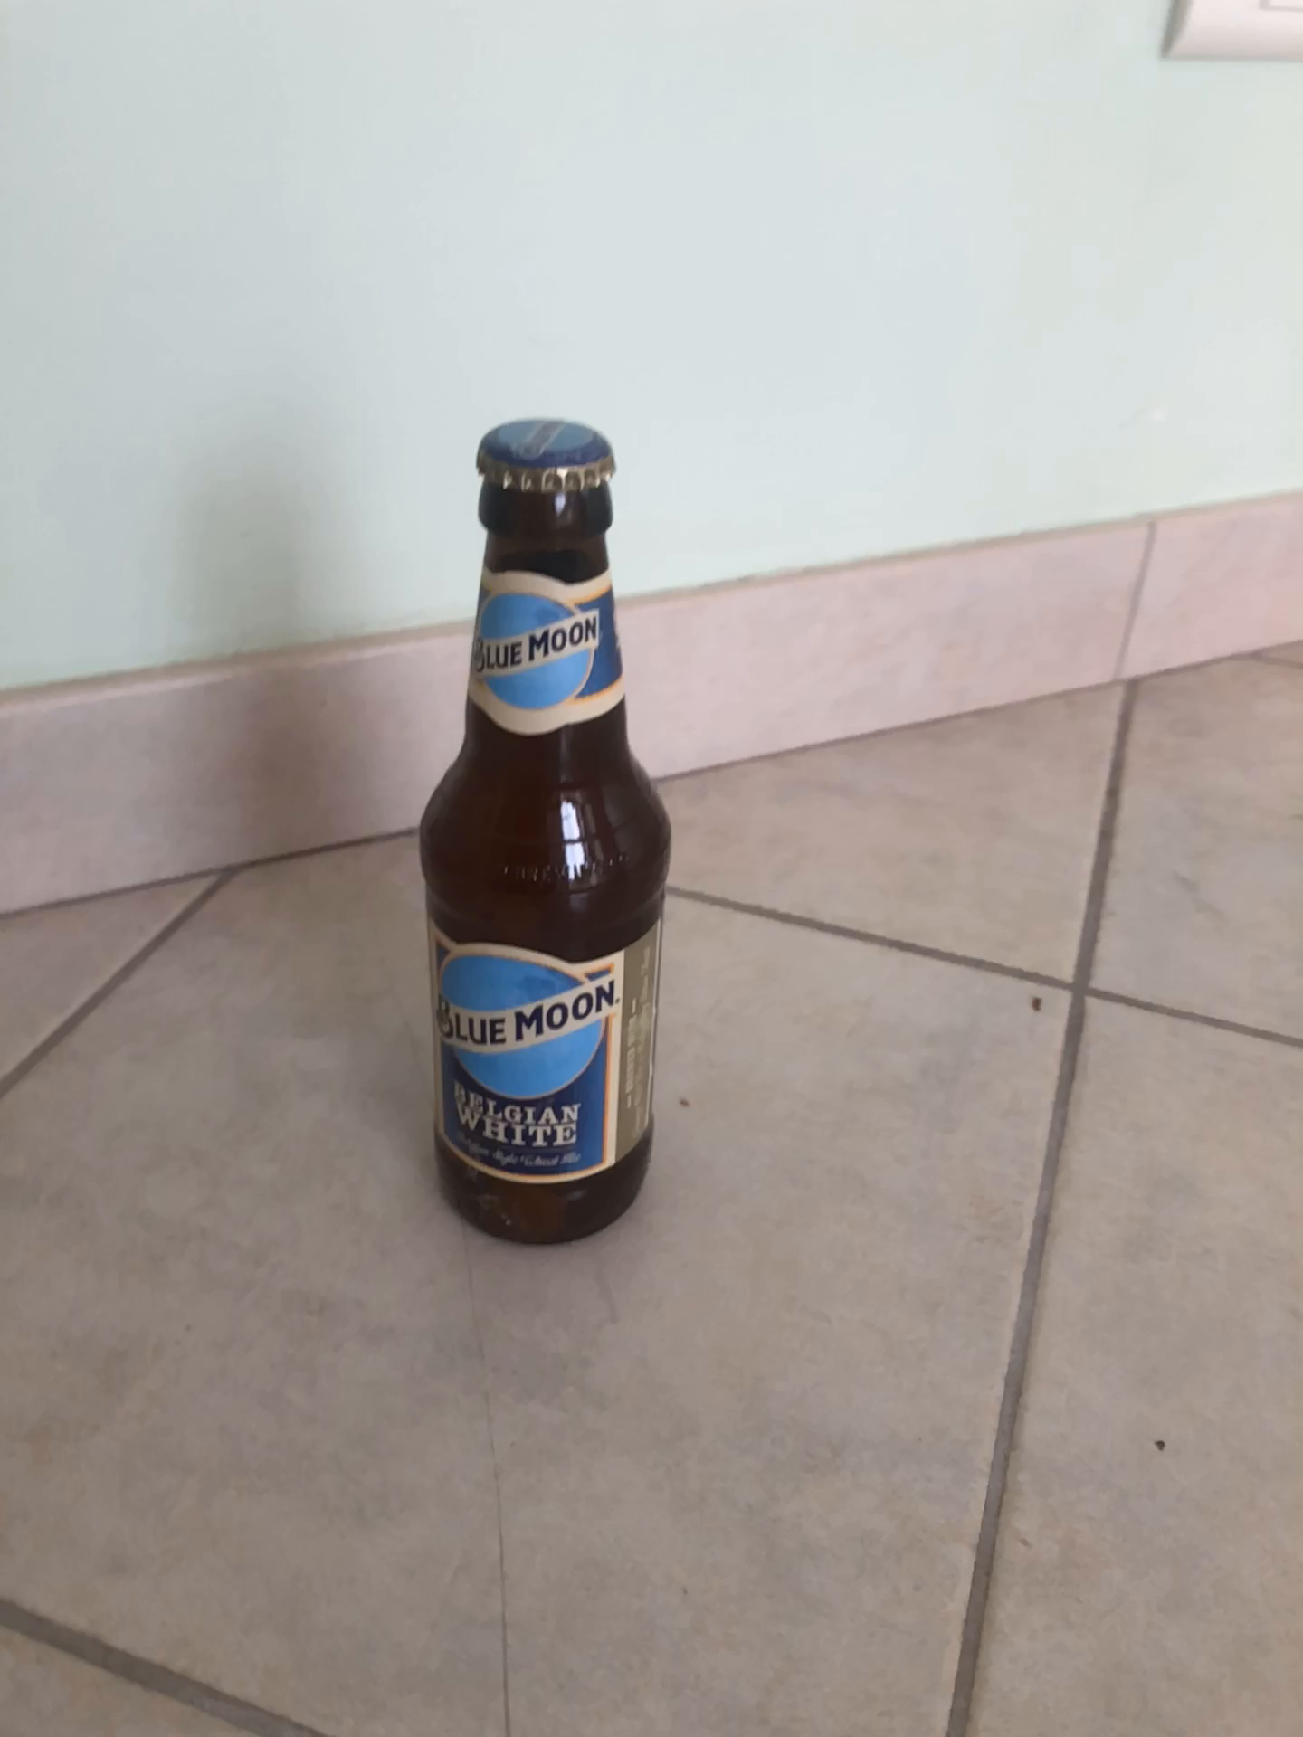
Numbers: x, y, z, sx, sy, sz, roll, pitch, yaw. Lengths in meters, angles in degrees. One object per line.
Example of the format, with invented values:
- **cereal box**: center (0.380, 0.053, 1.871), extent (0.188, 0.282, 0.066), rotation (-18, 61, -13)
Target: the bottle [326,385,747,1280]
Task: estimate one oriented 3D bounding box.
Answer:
- **bottle**: center (-0.026, -0.001, 0.360), extent (0.070, 0.209, 0.070), rotation (2, 35, -2)
